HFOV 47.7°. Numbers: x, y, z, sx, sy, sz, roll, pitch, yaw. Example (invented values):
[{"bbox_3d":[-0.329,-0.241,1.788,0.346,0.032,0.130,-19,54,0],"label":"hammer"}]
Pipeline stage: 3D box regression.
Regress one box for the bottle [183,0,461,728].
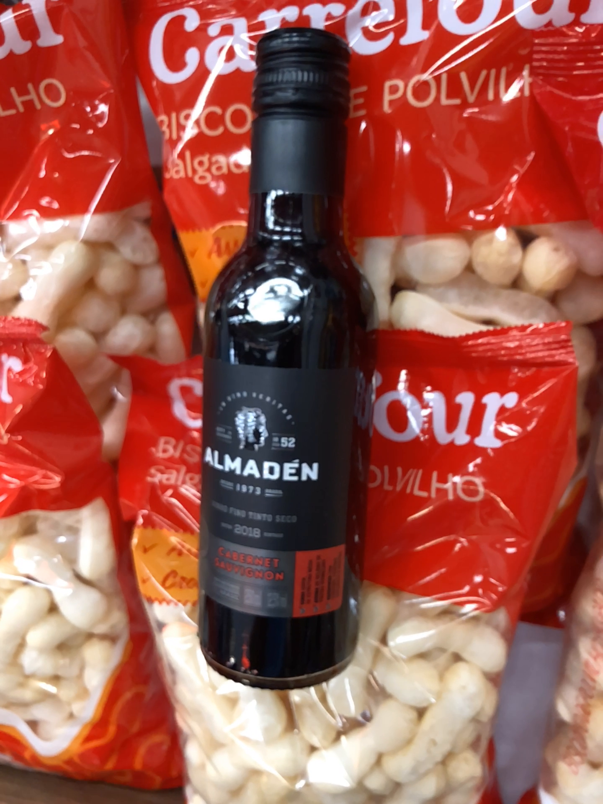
[{"bbox_3d":[0.007,-0.015,0.208,0.060,0.050,0.200,6,98,18],"label":"bottle"}]
